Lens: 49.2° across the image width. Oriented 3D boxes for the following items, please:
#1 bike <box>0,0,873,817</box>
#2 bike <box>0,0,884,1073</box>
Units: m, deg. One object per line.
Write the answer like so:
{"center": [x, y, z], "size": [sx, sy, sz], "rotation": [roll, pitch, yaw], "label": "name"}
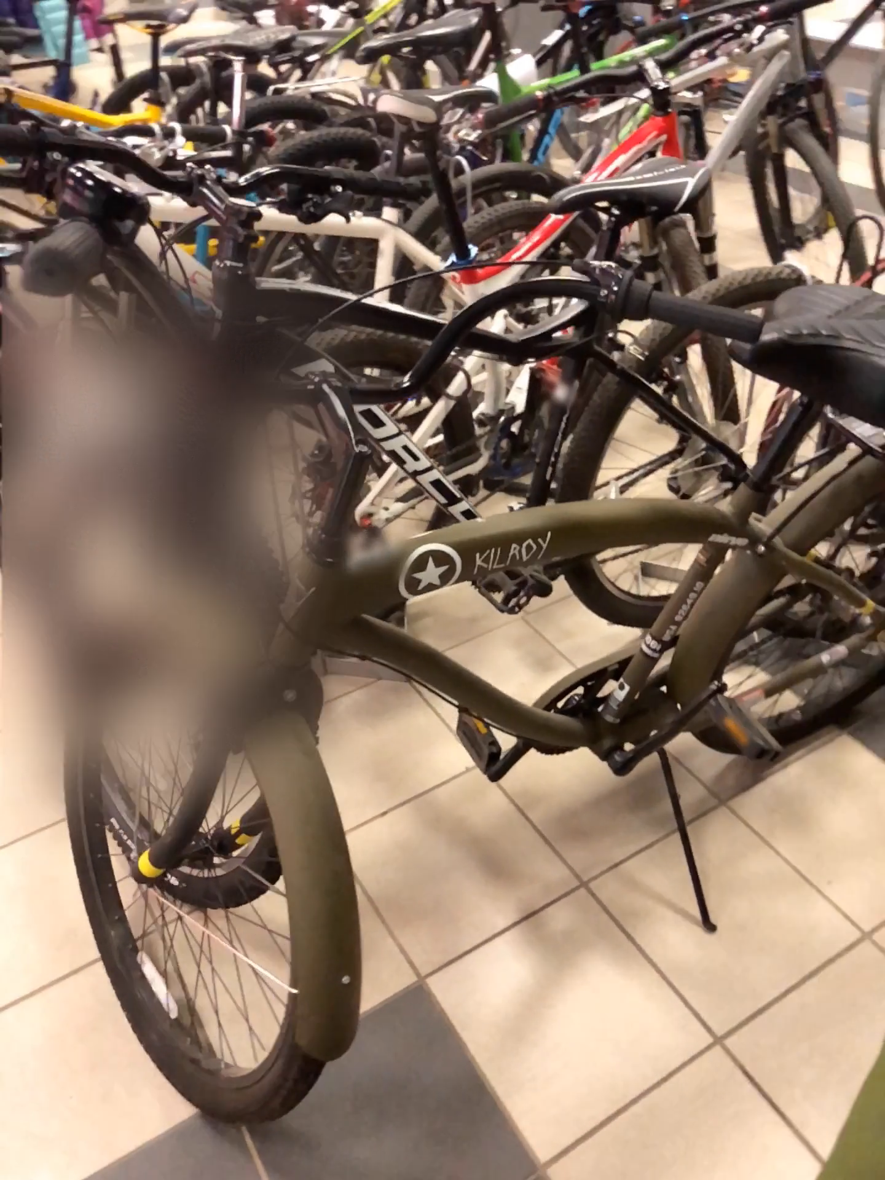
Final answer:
{"center": [-0.118, -0.306, 1.459], "size": [0.973, 1.228, 0.667], "rotation": [-8, 37, -19], "label": "bike"}
{"center": [0.252, -0.170, 1.266], "size": [1.495, 1.131, 0.836], "rotation": [-8, 37, -13], "label": "bike"}
